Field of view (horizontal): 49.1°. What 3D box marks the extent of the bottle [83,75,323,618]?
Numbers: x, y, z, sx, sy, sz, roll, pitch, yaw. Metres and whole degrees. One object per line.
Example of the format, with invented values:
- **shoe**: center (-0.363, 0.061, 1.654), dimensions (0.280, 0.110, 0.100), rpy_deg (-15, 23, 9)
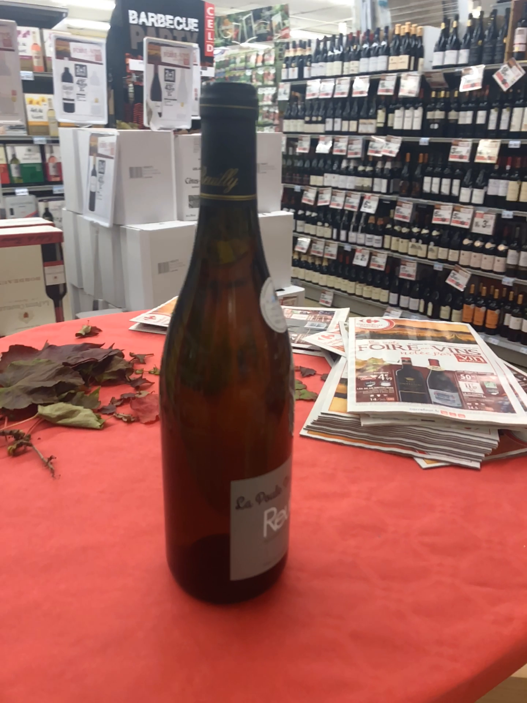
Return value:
- **bottle**: center (-0.025, 0.000, 0.331), dimensions (0.090, 0.279, 0.091), rpy_deg (1, 20, 0)
